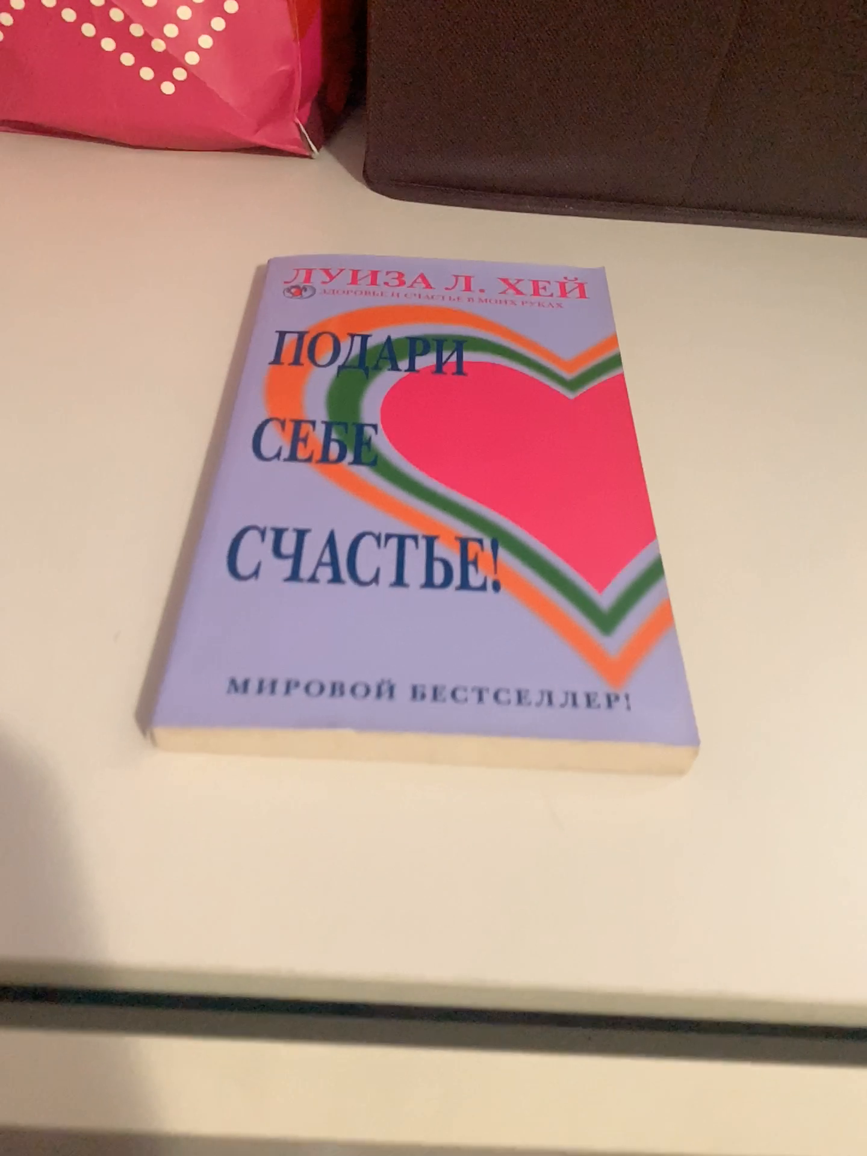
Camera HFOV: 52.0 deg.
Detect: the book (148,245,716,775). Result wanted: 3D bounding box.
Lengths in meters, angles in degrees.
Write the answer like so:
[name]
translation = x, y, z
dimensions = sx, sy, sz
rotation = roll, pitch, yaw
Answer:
[book]
translation = 0.001, -0.036, 0.261
dimensions = 0.123, 0.016, 0.195
rotation = 3, 49, -3
